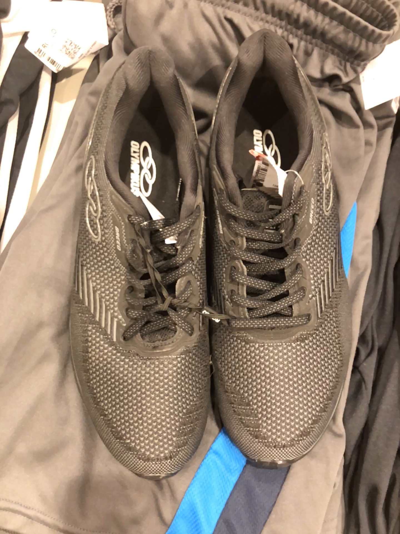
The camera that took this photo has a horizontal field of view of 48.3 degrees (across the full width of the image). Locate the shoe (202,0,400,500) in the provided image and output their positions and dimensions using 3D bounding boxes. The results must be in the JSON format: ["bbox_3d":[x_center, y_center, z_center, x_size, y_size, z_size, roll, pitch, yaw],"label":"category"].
[{"bbox_3d":[0.053,-0.017,0.290,0.100,0.100,0.280,0,79,0],"label":"shoe"}]

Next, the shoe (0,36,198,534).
[{"bbox_3d":[-0.052,0.005,0.288,0.100,0.100,0.270,0,79,0],"label":"shoe"}]
